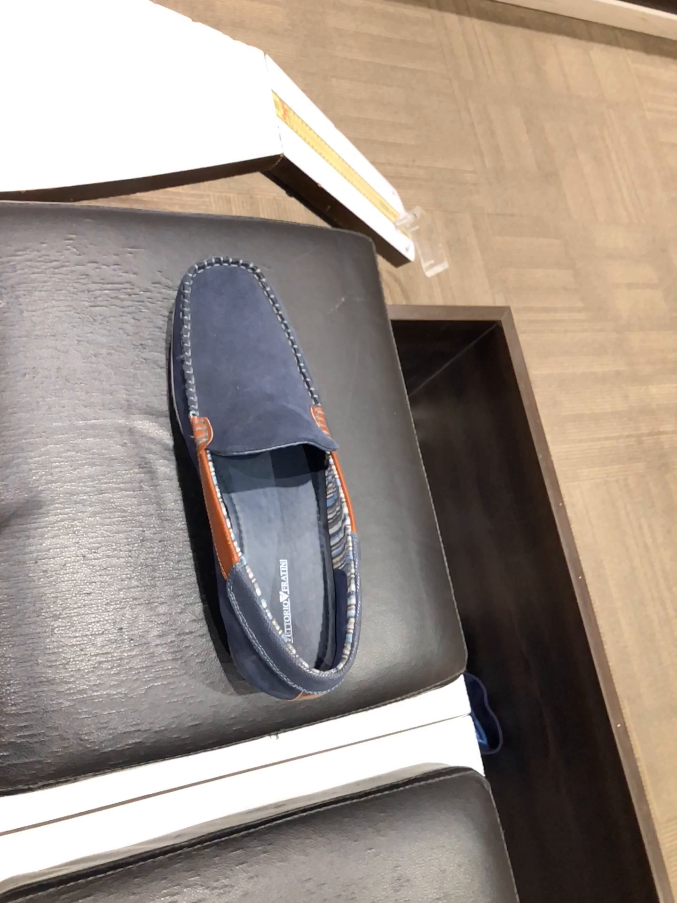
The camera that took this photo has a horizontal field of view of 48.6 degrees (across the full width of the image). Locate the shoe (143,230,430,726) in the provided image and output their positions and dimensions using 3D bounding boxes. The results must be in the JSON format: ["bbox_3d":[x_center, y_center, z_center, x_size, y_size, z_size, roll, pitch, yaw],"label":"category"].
[{"bbox_3d":[-0.045,0.013,0.488,0.110,0.100,0.291,-5,74,-25],"label":"shoe"}]
